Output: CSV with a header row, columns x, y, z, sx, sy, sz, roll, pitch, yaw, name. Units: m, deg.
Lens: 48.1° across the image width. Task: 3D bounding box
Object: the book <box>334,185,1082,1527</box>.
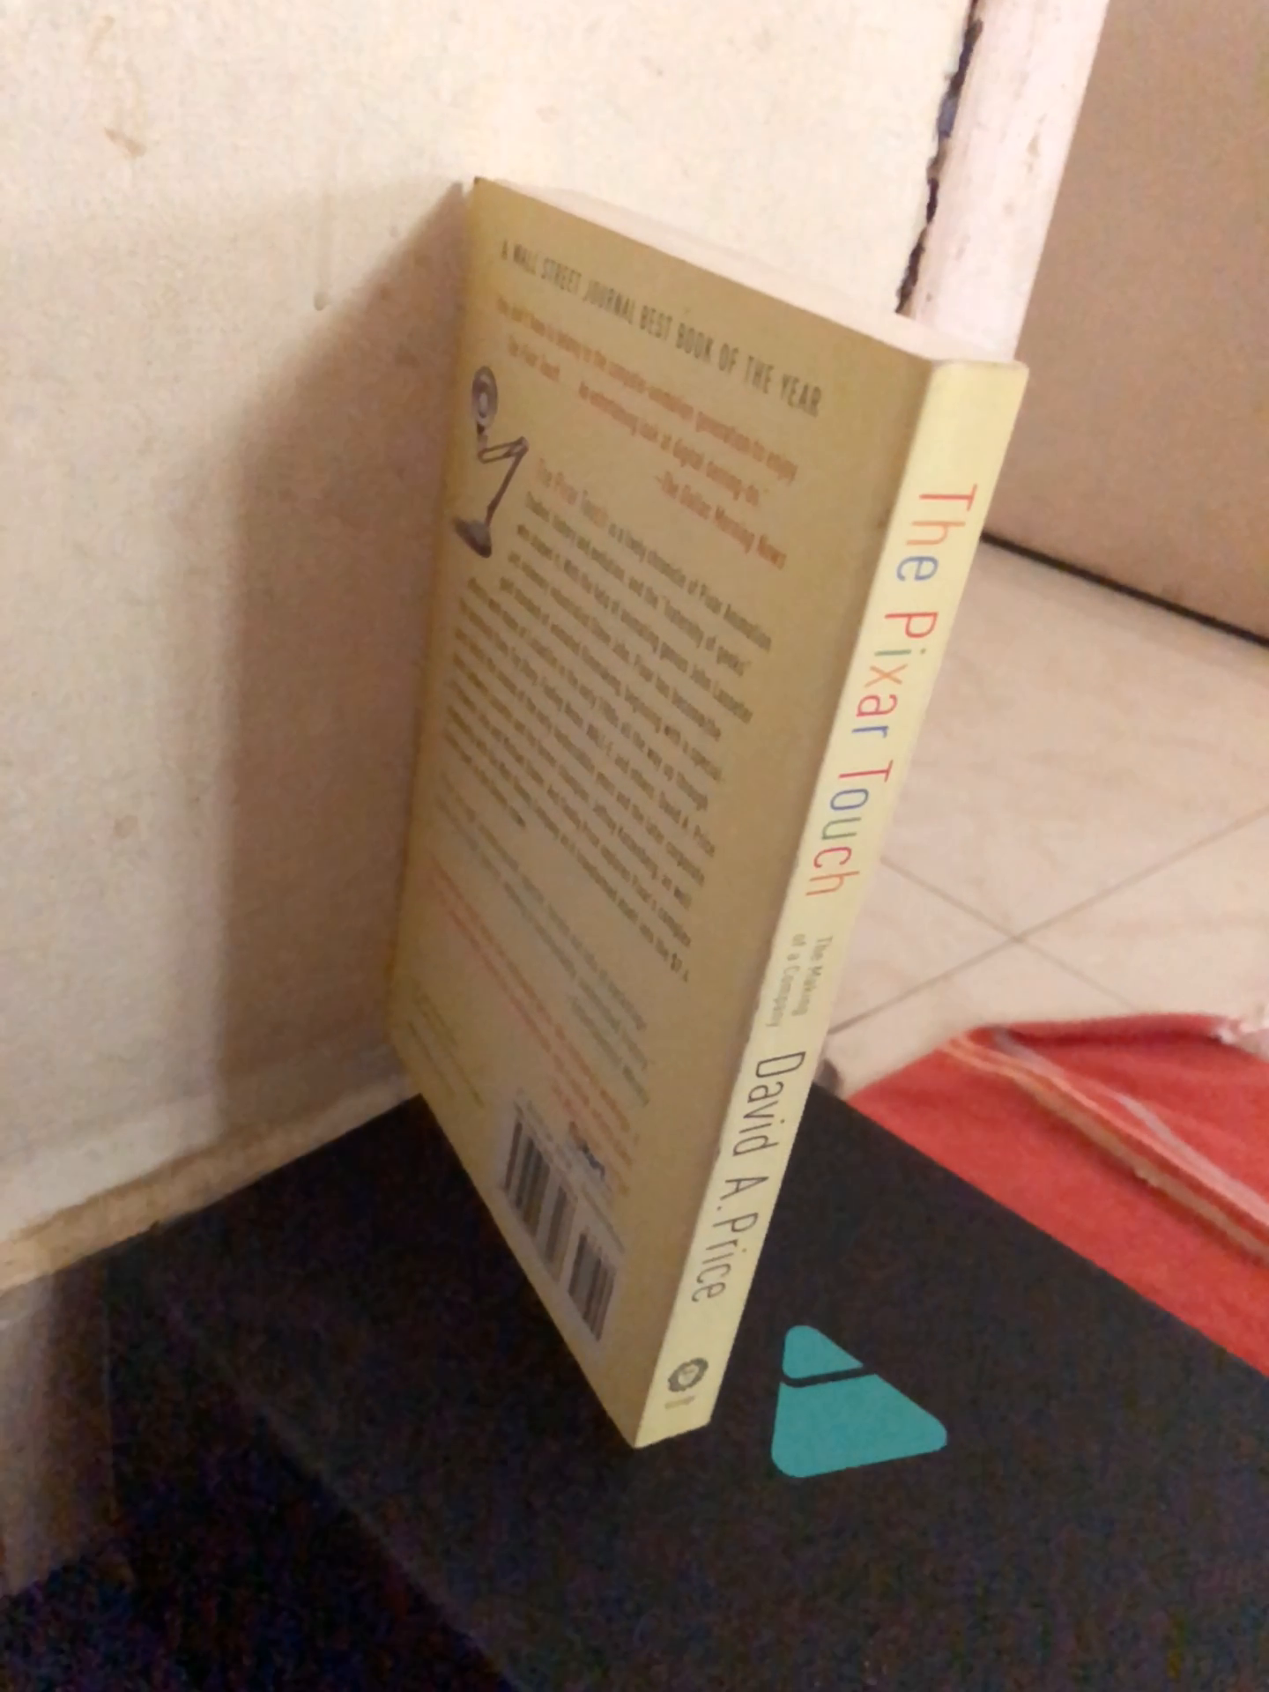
x,y,z,sx,sy,sz,roll,pitch,yaw,name
-0.010,-0.002,0.264,0.030,0.199,0.140,-6,32,-31,book
